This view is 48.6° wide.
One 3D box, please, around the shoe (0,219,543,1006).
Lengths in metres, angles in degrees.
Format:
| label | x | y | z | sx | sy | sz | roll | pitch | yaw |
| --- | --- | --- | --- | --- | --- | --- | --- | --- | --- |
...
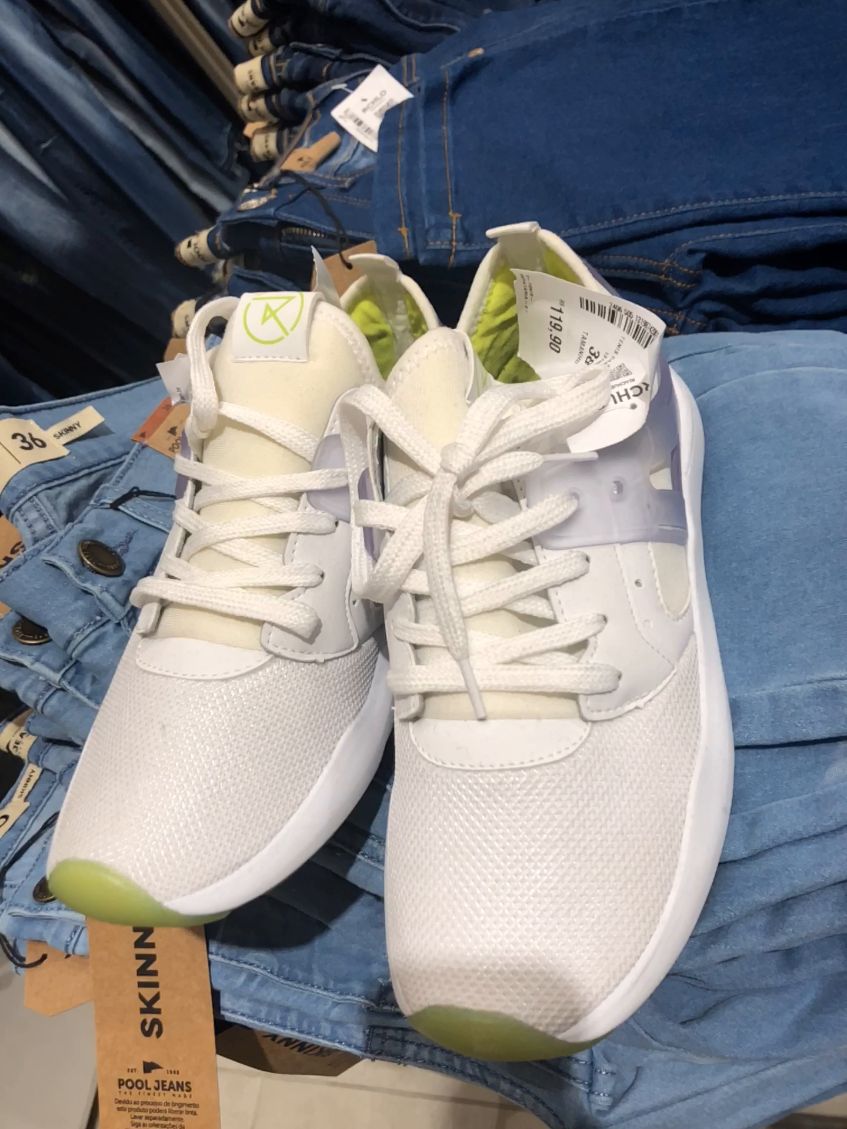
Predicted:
| label | x | y | z | sx | sy | sz | roll | pitch | yaw |
| --- | --- | --- | --- | --- | --- | --- | --- | --- | --- |
| shoe | -0.051 | -0.014 | 0.330 | 0.110 | 0.119 | 0.260 | 6 | 40 | 22 |

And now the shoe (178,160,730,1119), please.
| label | x | y | z | sx | sy | sz | roll | pitch | yaw |
| --- | --- | --- | --- | --- | --- | --- | --- | --- | --- |
| shoe | 0.029 | 0.011 | 0.282 | 0.100 | 0.089 | 0.251 | -8 | 55 | 28 |
